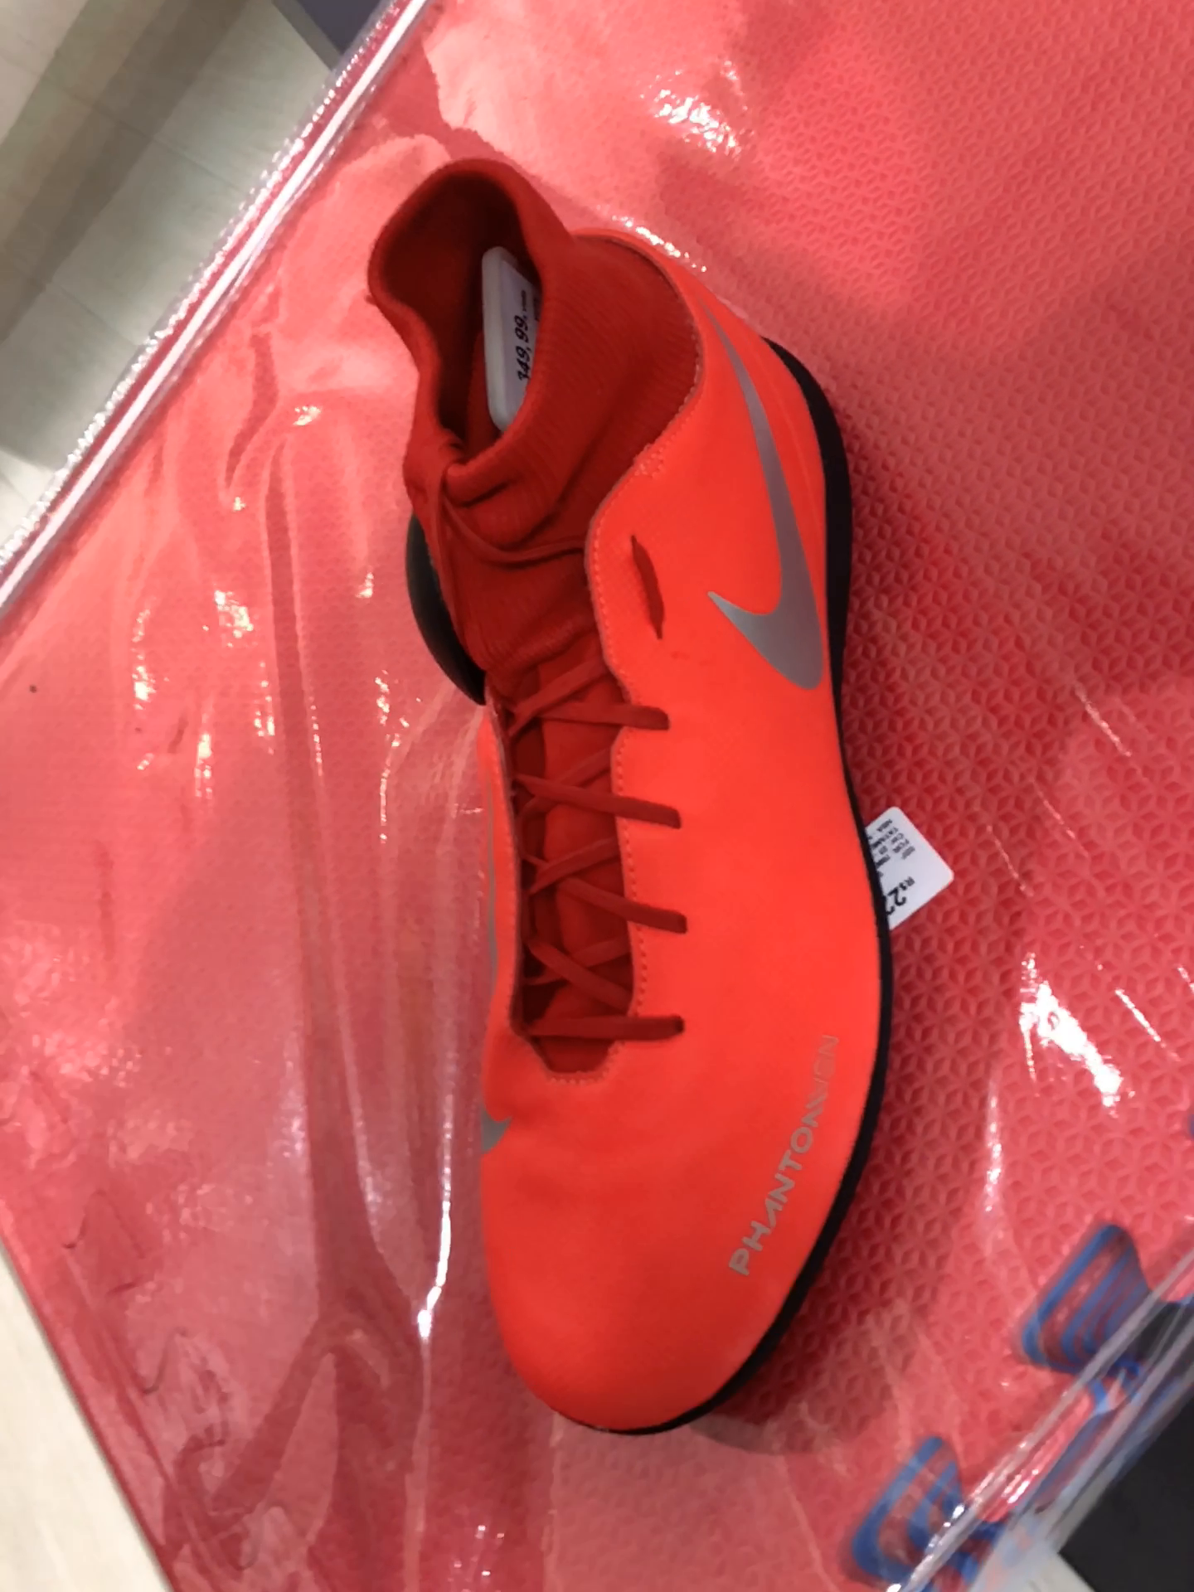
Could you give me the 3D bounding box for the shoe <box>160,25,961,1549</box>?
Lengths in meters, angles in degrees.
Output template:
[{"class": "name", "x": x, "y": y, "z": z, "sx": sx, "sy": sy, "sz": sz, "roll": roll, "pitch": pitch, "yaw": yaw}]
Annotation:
[{"class": "shoe", "x": 0.012, "y": -0.002, "z": 0.271, "sx": 0.090, "sy": 0.119, "sz": 0.250, "roll": -7, "pitch": 66, "yaw": 28}]
